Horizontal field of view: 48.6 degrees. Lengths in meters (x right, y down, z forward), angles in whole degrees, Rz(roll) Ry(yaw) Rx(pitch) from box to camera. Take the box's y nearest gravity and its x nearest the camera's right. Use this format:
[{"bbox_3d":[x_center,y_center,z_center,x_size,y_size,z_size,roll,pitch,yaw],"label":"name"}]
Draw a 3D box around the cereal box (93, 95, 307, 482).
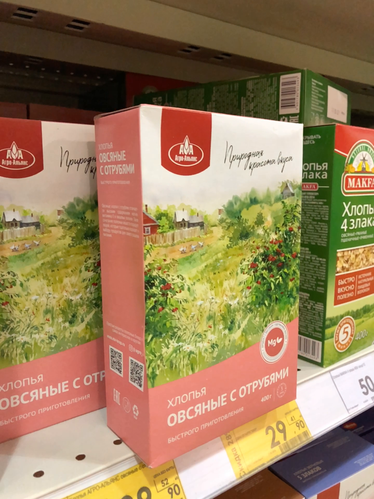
[{"bbox_3d":[0.013,0.017,0.282,0.130,0.210,0.060,-6,10,-37],"label":"cereal box"}]
